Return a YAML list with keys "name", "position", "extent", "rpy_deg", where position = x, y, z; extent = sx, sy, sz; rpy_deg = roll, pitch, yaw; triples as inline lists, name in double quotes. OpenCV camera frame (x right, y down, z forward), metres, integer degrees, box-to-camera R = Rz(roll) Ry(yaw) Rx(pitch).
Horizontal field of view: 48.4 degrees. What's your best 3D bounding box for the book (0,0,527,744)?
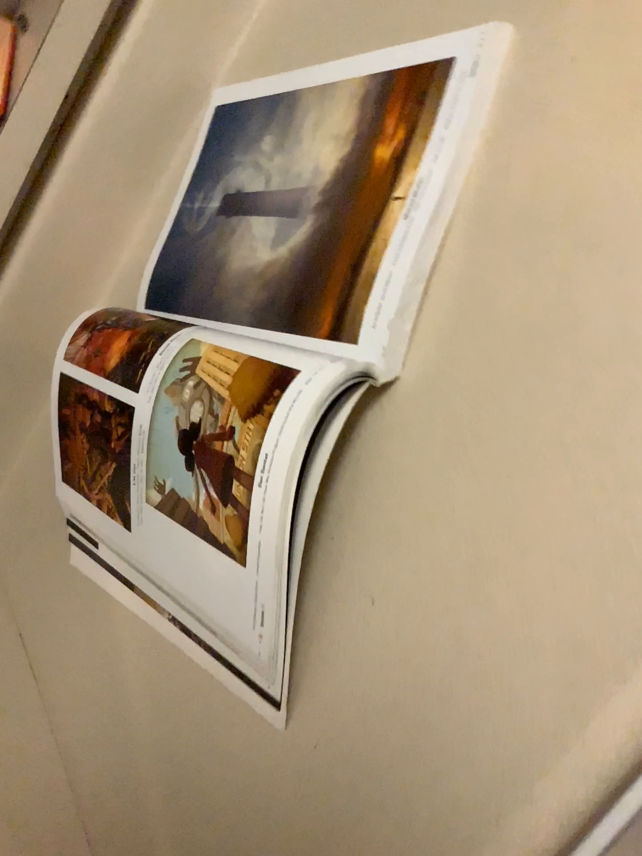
- name: "book"
  position: [-0.079, -0.075, 0.511]
  extent: [0.320, 0.070, 0.450]
  rpy_deg: [17, 88, 46]
